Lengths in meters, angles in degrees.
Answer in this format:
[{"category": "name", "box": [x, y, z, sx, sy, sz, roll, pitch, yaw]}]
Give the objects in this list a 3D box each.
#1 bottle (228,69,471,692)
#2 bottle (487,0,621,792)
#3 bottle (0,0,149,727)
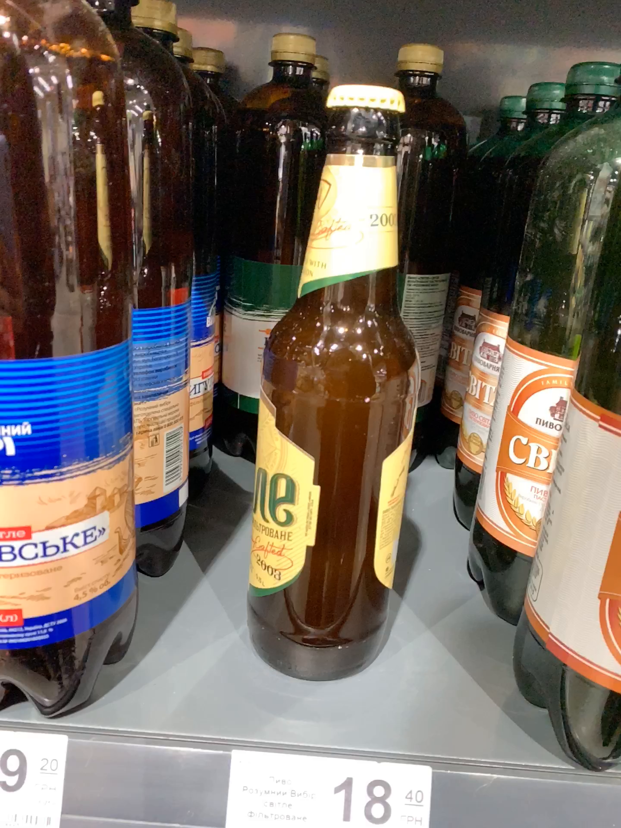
[{"category": "bottle", "box": [0.005, -0.005, 0.283, 0.070, 0.248, 0.069, 4, 20, -1]}, {"category": "bottle", "box": [0.136, 0.000, 0.234, 0.084, 0.277, 0.071, 5, 20, 1]}, {"category": "bottle", "box": [-0.109, -0.026, 0.233, 0.084, 0.283, 0.071, 2, 20, -7]}]
